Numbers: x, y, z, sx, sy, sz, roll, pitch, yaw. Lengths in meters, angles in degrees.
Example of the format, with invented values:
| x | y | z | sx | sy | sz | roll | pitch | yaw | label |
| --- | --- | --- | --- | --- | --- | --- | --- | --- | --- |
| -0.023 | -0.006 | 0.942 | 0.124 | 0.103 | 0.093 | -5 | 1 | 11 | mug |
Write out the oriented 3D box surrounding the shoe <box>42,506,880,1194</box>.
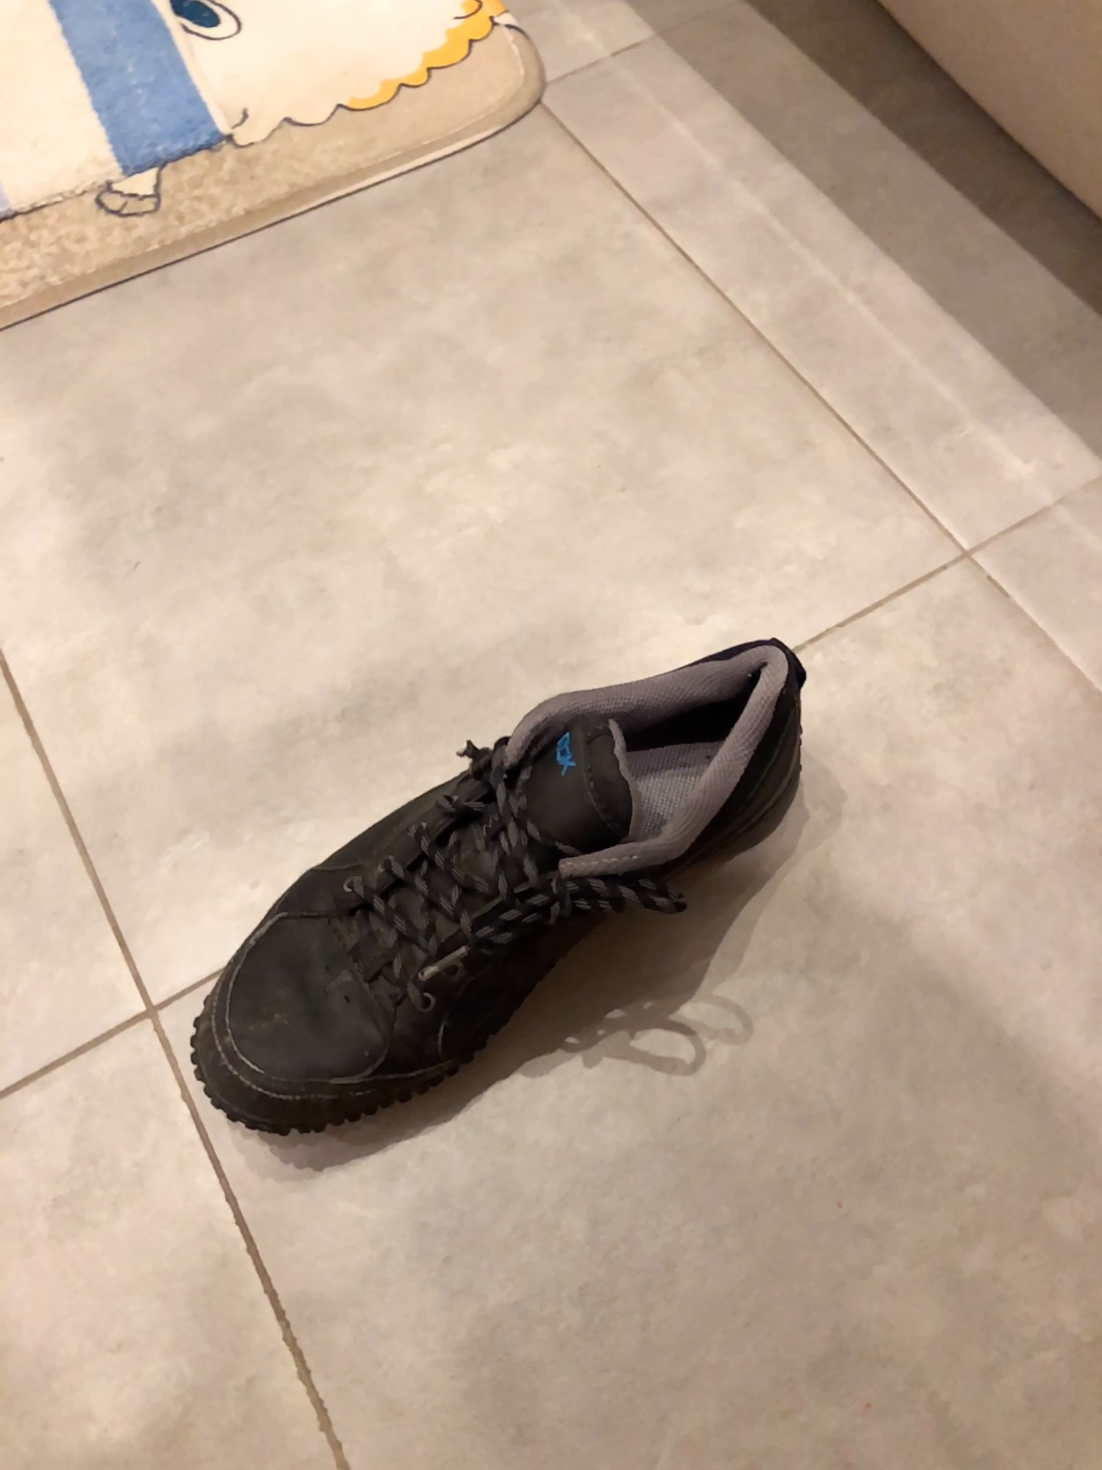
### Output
| x | y | z | sx | sy | sz | roll | pitch | yaw | label |
| --- | --- | --- | --- | --- | --- | --- | --- | --- | --- |
| -0.025 | 0.043 | 0.456 | 0.270 | 0.110 | 0.100 | -31 | 64 | -11 | shoe |
